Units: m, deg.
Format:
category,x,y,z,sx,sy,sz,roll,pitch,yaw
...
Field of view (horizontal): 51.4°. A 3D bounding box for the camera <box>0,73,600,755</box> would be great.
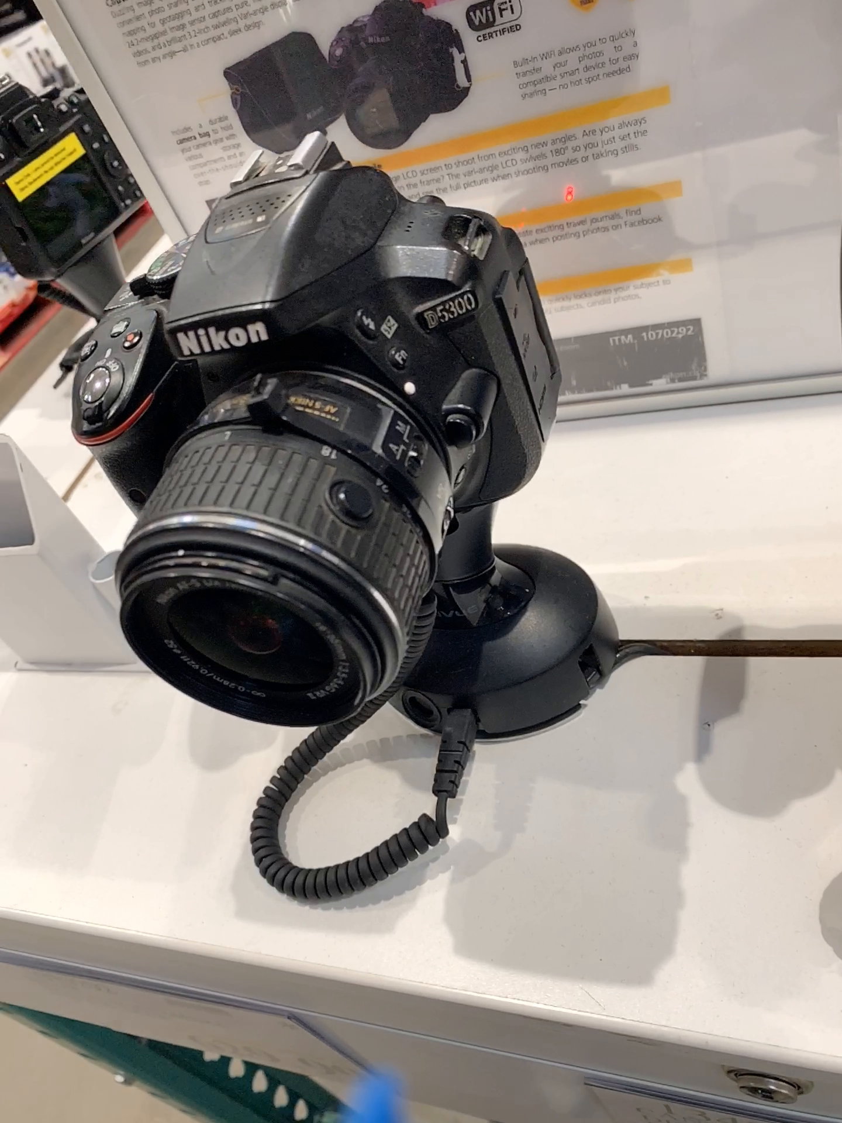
category,x,y,z,sx,sy,sz,roll,pitch,yaw
camera,-0.029,-0.035,0.204,0.120,0.069,0.141,-6,44,21
